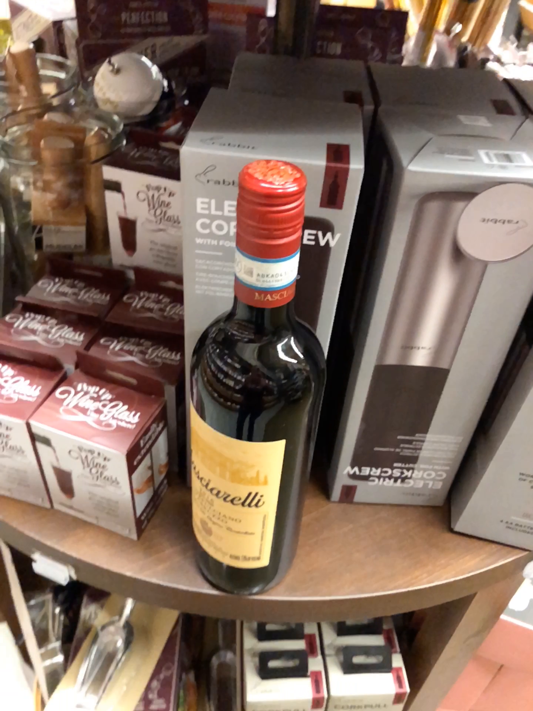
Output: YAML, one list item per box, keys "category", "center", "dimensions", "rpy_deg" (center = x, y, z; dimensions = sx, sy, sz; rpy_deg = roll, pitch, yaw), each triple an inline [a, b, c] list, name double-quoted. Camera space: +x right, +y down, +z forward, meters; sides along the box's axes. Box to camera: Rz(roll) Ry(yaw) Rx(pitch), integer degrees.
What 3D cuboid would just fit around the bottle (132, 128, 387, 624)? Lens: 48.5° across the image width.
- category: "bottle"
  center: [-0.010, 0.034, 0.331]
  dimensions: [0.075, 0.283, 0.072]
  rpy_deg: [2, 41, -2]
